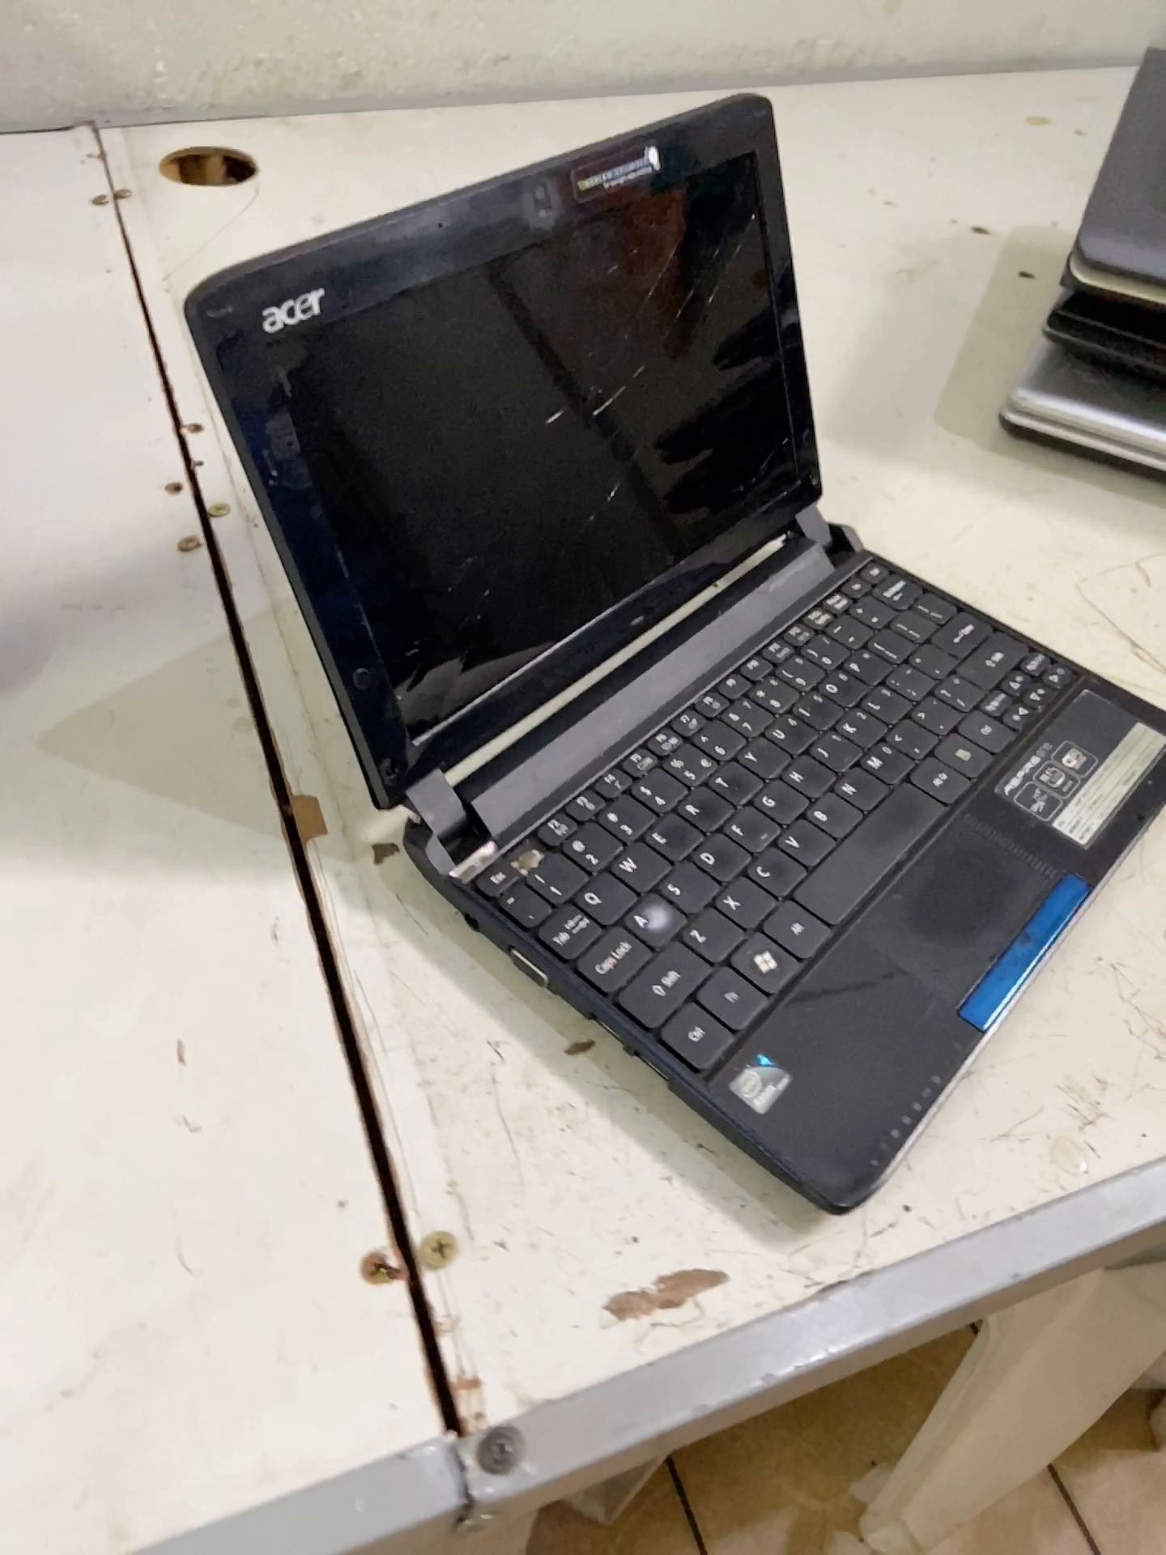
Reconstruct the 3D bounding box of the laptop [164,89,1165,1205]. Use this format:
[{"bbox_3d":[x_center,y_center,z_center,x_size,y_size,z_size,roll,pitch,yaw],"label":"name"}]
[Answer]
[{"bbox_3d":[0.065,-0.072,0.384,0.260,0.144,0.254,37,54,23],"label":"laptop"}]
